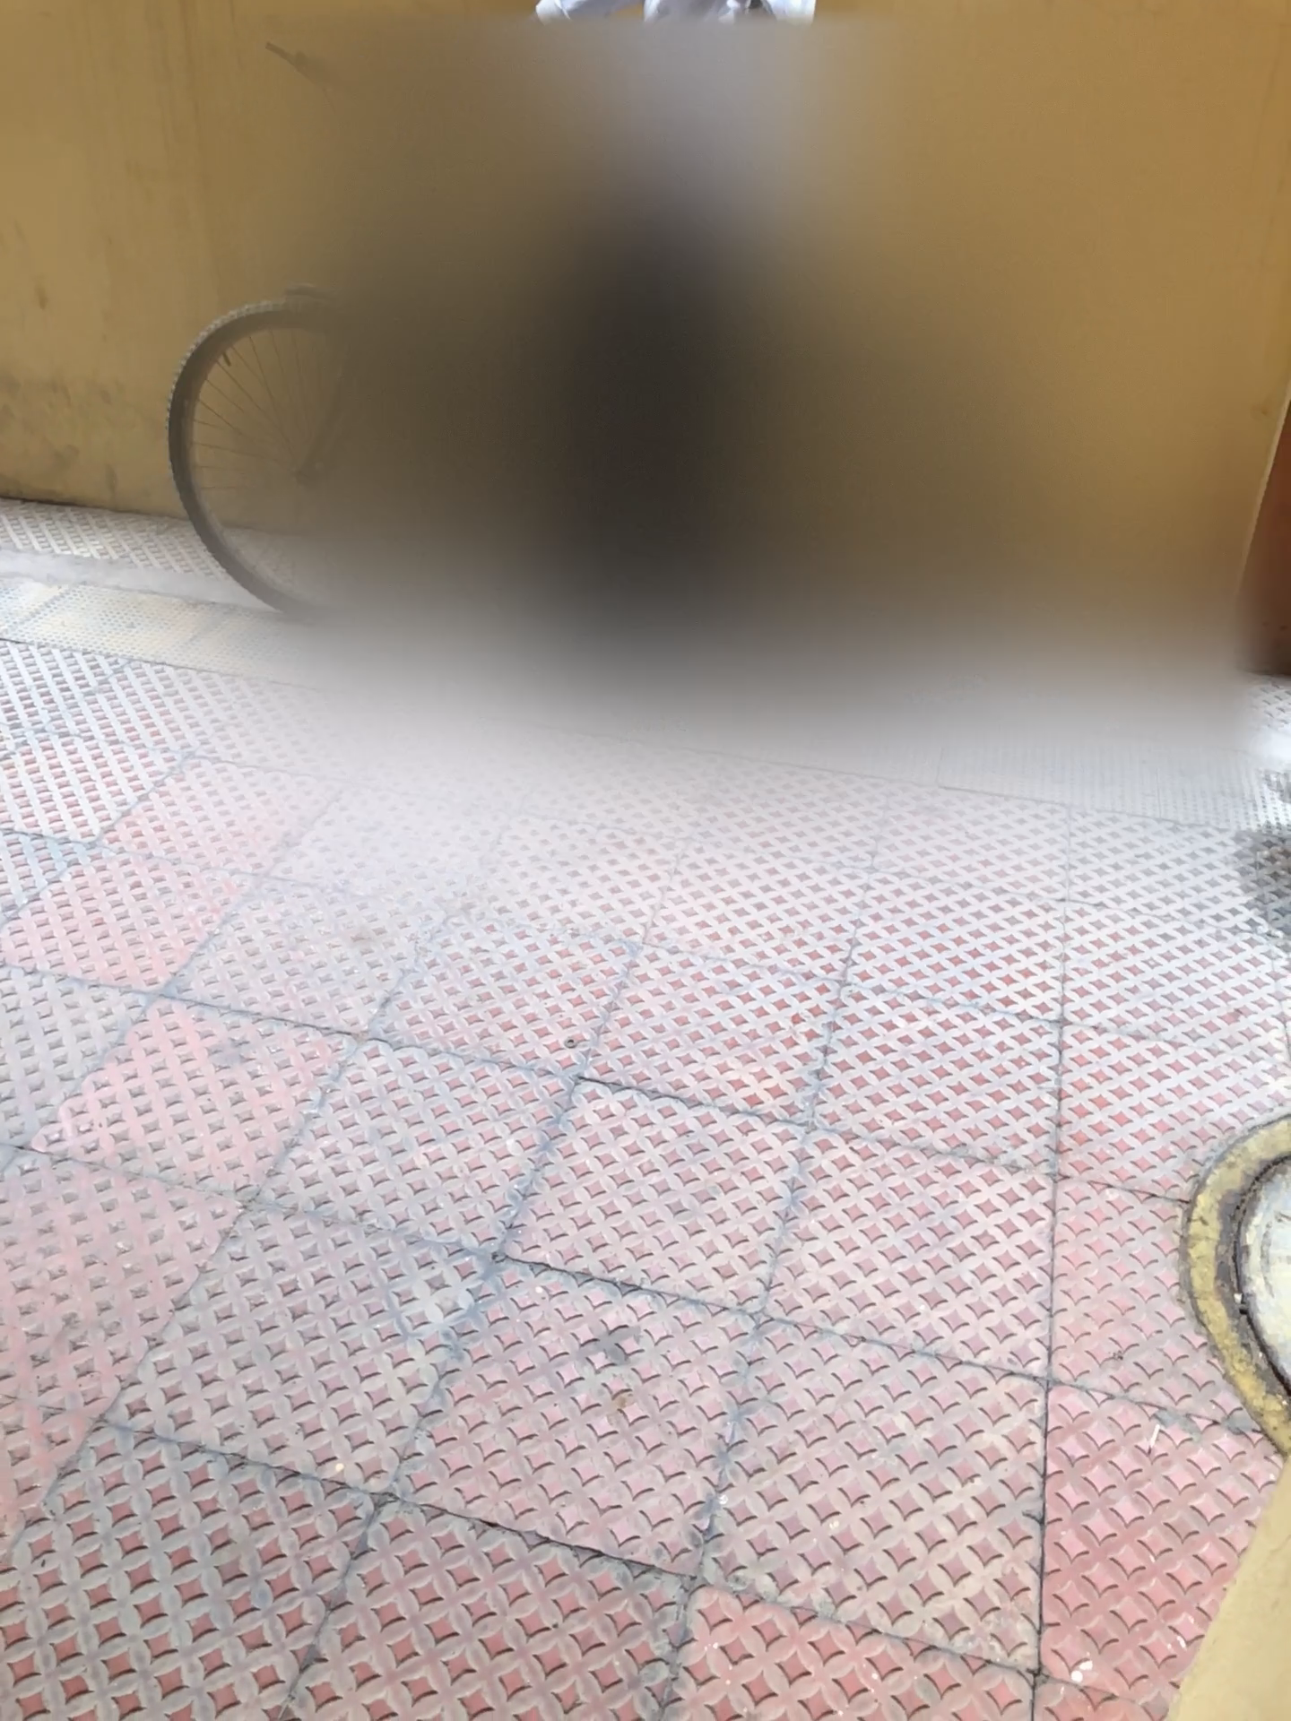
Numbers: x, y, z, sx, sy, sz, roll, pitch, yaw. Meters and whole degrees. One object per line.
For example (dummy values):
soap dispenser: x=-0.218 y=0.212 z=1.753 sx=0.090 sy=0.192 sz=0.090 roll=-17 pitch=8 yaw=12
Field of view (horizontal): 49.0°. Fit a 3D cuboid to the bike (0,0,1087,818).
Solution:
bike: x=-0.207 y=-0.813 z=2.384 sx=1.572 sy=1.023 sz=0.592 roll=12 pitch=35 yaw=11
